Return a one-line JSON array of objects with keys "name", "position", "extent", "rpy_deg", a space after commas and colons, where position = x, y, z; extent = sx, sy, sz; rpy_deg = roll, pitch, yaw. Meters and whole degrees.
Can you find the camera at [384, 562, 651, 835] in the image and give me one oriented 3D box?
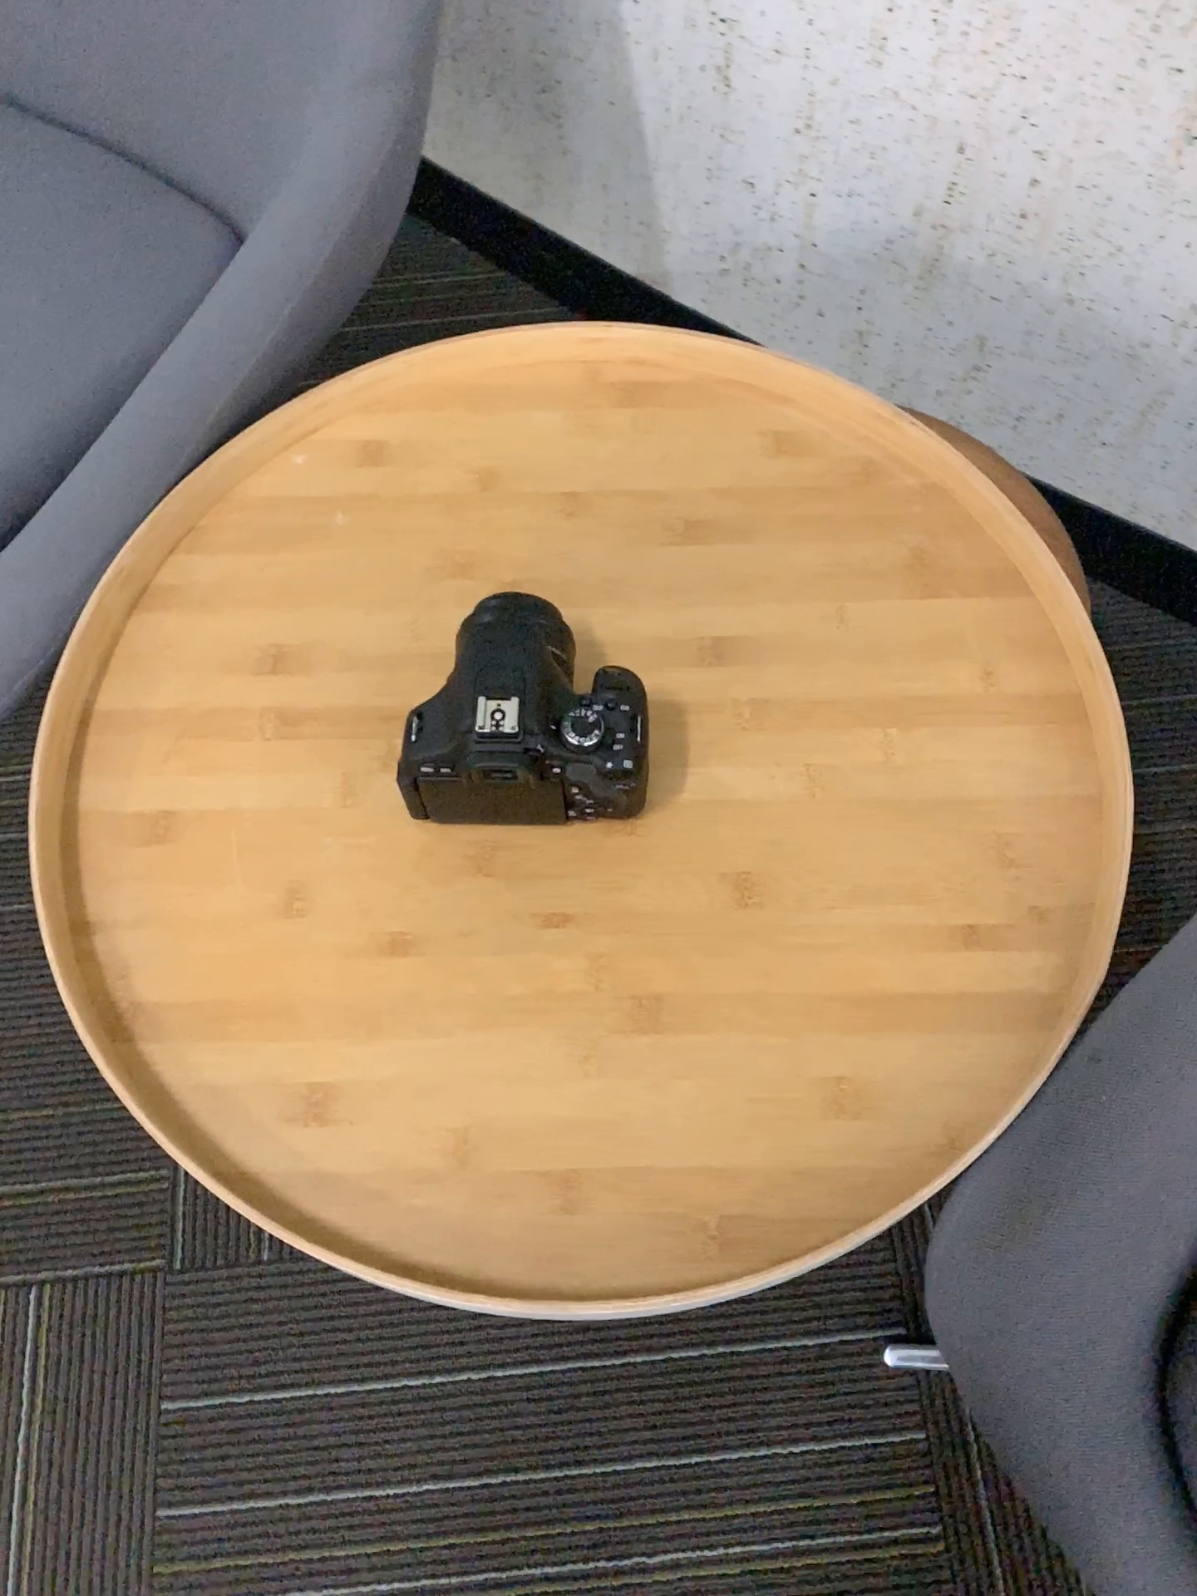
[{"name": "camera", "position": [-0.039, -0.055, 0.698], "extent": [0.134, 0.100, 0.120], "rpy_deg": [2, 67, 3]}]
